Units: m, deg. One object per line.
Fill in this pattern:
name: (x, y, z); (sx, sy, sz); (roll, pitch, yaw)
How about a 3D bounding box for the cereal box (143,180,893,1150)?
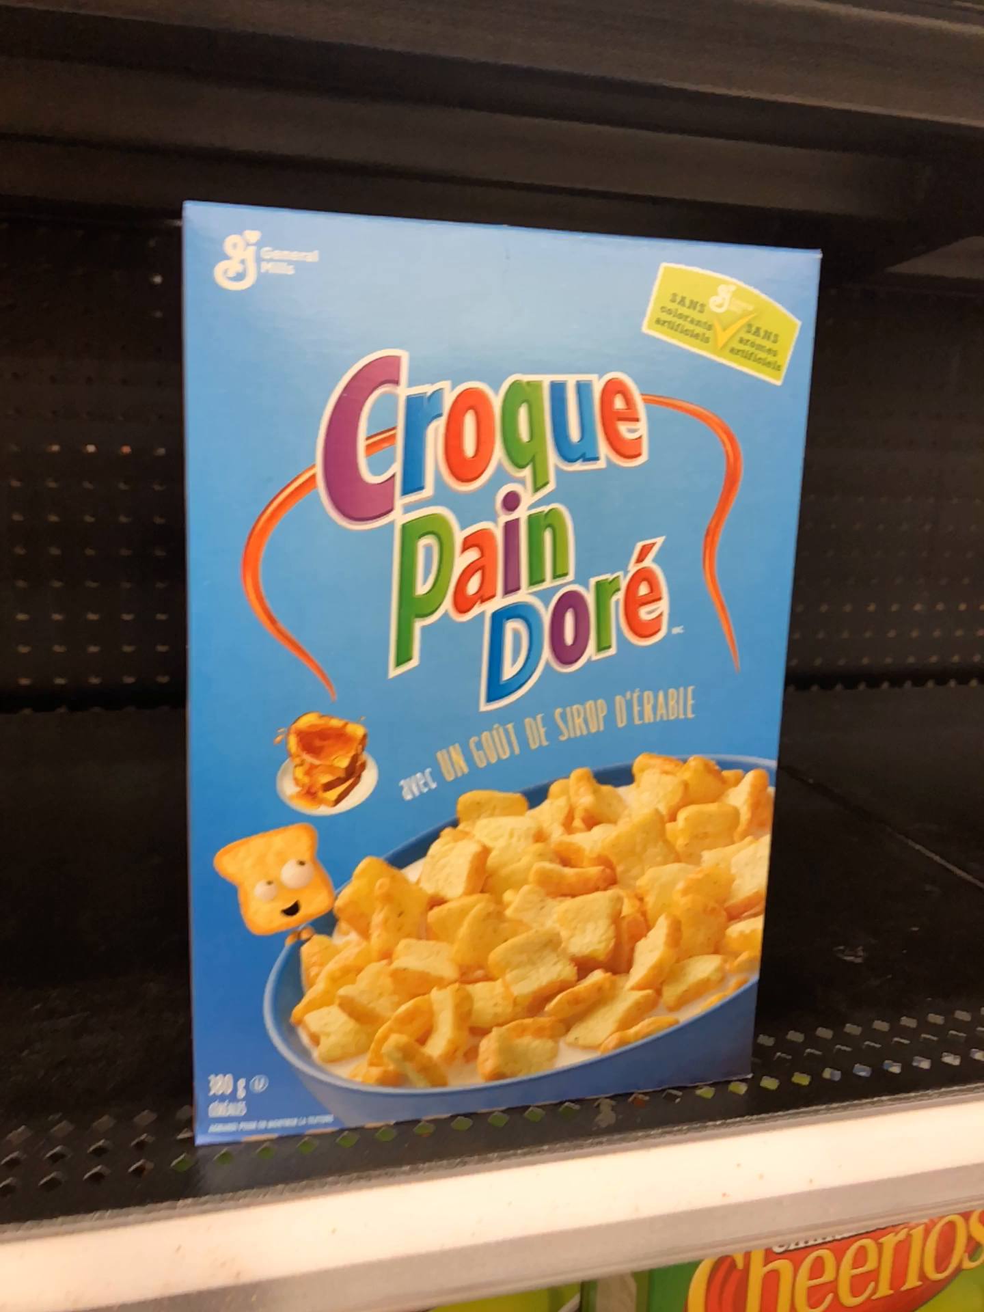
cereal box: (0.004, 0.006, 0.349); (0.210, 0.269, 0.060); (-1, 12, -14)
